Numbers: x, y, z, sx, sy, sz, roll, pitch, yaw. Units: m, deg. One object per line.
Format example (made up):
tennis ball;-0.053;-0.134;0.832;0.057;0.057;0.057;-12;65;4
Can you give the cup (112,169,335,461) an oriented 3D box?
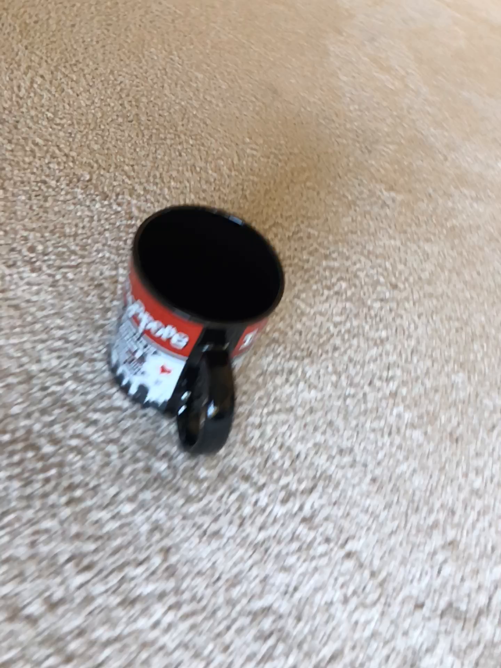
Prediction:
cup;-0.026;-0.008;0.318;0.090;0.090;0.130;6;52;-20
